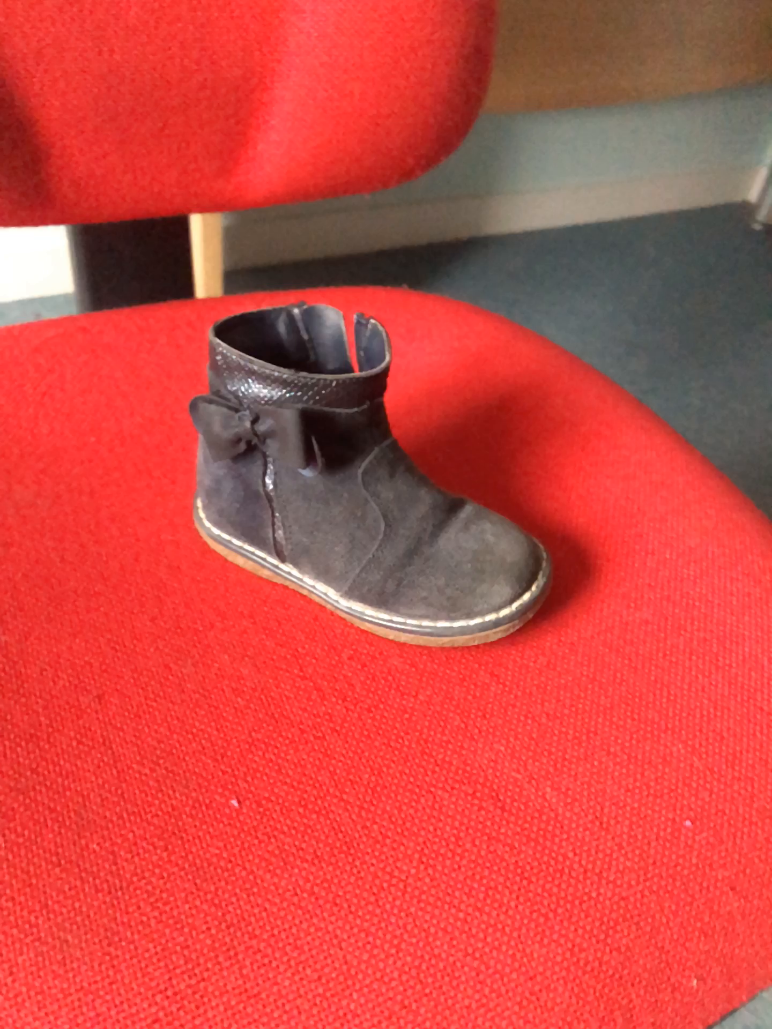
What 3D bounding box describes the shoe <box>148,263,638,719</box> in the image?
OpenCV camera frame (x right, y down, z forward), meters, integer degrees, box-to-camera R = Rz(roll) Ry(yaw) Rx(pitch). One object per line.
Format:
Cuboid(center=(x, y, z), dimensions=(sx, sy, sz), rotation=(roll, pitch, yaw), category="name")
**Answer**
Cuboid(center=(-0.001, -0.012, 0.328), dimensions=(0.150, 0.099, 0.081), rotation=(23, 46, 13), category="shoe")
